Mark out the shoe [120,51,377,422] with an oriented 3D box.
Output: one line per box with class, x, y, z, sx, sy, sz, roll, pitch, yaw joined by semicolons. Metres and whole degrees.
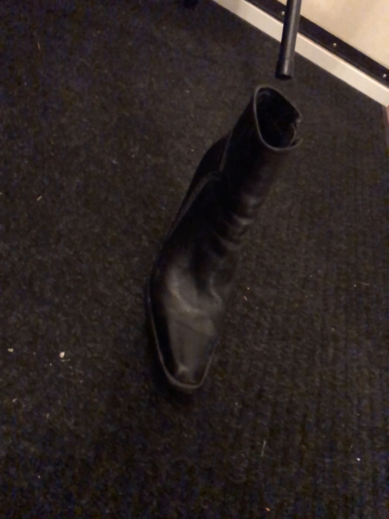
shoe;0.029;-0.021;0.386;0.090;0.209;0.241;20;45;-14
